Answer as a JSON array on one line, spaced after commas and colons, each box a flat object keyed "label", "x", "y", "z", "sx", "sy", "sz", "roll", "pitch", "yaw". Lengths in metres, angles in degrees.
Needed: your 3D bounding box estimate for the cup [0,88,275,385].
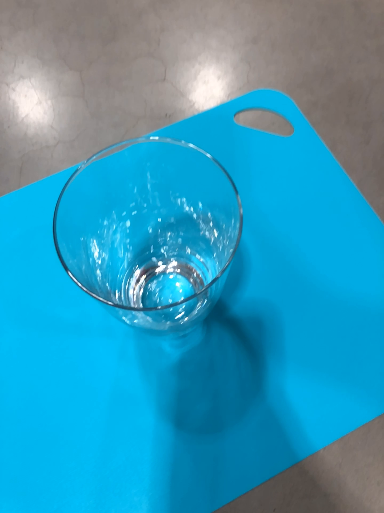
[{"label": "cup", "x": -0.028, "y": 0.004, "z": 0.278, "sx": 0.100, "sy": 0.160, "sz": 0.100, "roll": 0, "pitch": 69, "yaw": 1}]
